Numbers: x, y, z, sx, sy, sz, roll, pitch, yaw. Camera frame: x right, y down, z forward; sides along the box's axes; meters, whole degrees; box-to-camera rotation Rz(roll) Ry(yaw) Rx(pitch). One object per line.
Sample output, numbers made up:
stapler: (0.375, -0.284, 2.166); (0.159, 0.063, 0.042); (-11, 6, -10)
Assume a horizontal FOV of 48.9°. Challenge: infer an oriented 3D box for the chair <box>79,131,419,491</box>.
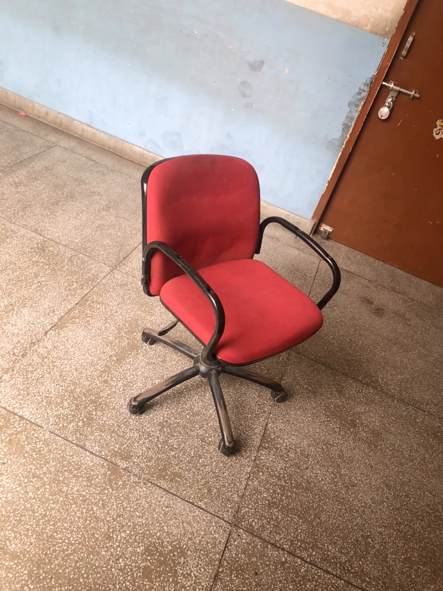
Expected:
chair: (0.028, 0.004, 1.586); (0.652, 0.797, 0.641); (-21, 52, -41)
